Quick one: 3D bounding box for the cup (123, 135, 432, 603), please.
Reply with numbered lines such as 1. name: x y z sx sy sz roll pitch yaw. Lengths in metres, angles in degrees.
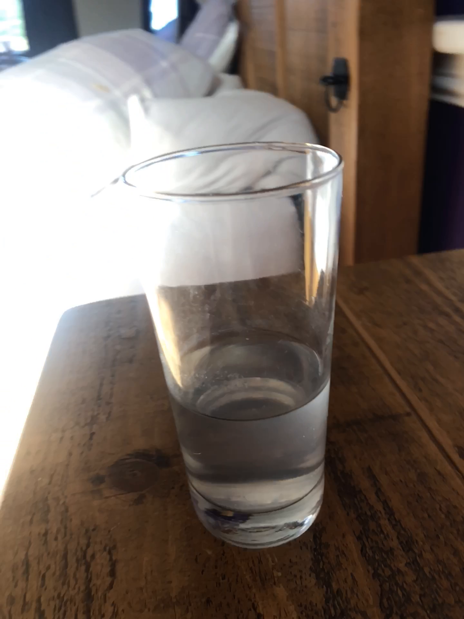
1. cup: 0.014 0.020 0.204 0.077 0.152 0.074 -4 27 2
